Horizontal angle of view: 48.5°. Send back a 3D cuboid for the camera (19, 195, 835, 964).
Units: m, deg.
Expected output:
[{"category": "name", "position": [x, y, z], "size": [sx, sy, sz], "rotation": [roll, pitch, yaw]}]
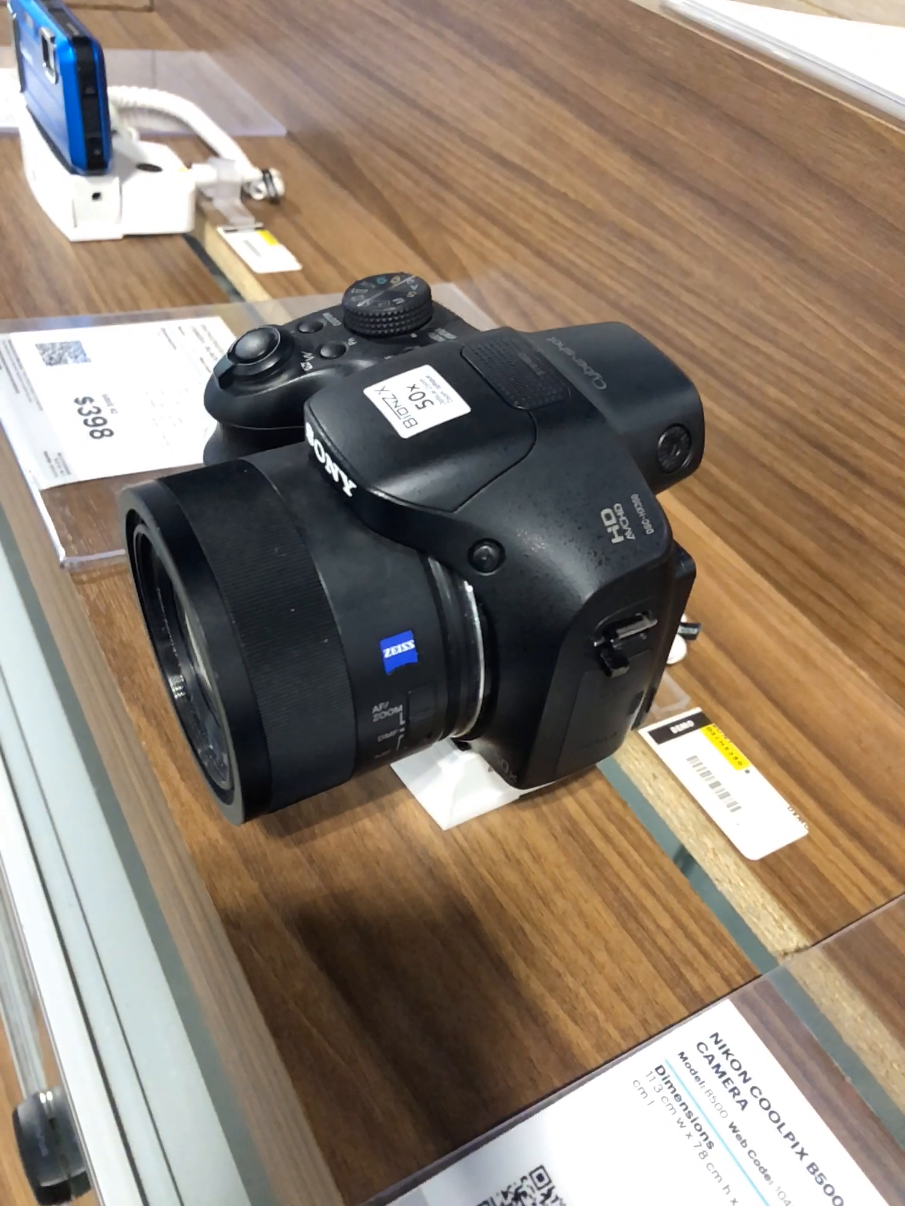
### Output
[{"category": "camera", "position": [-0.014, -0.018, 0.238], "size": [0.120, 0.089, 0.131], "rotation": [-20, 50, -24]}]
